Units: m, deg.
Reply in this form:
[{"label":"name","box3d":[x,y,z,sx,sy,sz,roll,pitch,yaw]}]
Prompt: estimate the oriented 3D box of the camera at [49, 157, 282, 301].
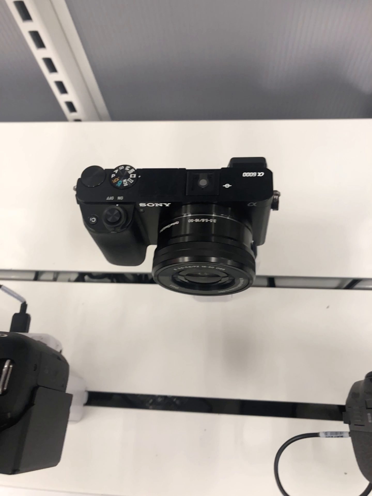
[{"label":"camera","box3d":[-0.008,-0.009,0.251,0.120,0.058,0.067,0,68,5]}]
